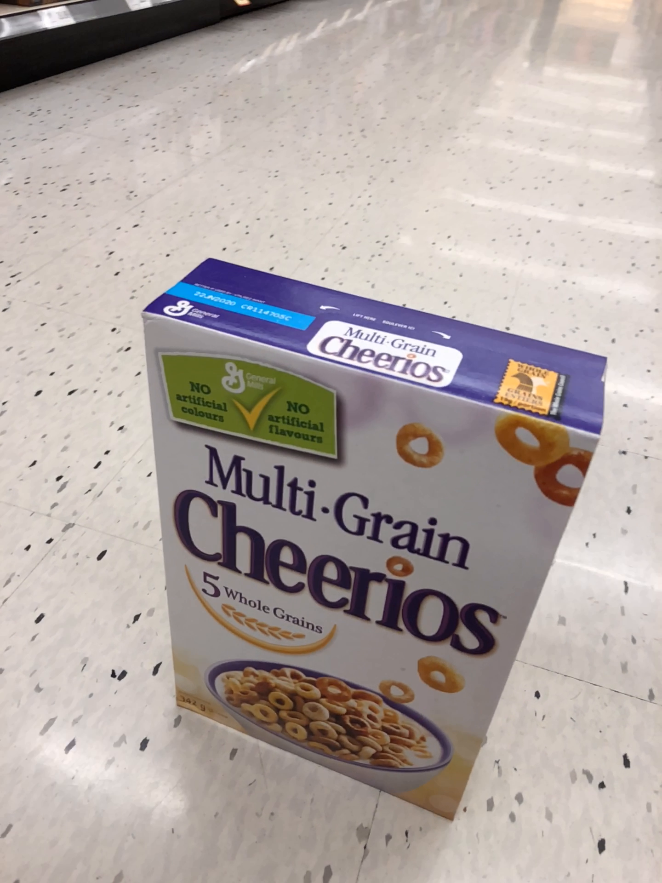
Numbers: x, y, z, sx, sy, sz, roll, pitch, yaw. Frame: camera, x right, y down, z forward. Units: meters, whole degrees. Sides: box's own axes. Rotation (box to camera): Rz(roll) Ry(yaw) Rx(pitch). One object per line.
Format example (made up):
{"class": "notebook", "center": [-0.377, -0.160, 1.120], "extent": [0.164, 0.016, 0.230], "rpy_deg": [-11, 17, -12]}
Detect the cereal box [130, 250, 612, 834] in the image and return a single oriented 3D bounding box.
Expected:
{"class": "cereal box", "center": [0.004, 0.074, 0.393], "extent": [0.190, 0.308, 0.060], "rpy_deg": [17, 39, 13]}
